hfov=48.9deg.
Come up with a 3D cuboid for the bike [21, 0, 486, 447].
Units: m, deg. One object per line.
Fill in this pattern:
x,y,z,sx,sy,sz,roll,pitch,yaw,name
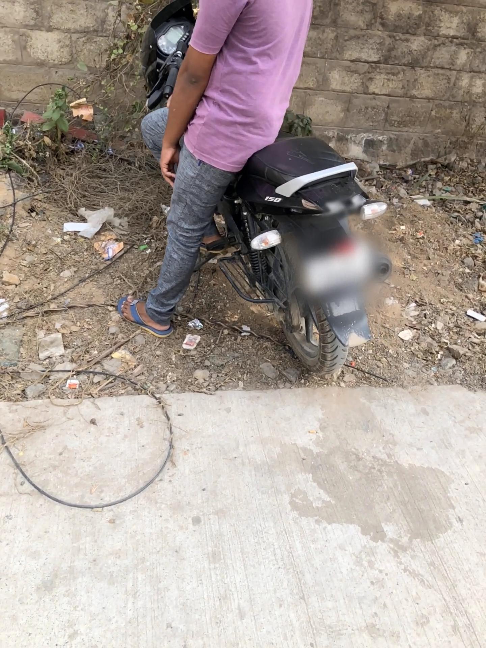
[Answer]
-0.180,-0.703,2.124,0.816,1.214,1.818,-13,42,-26,bike
